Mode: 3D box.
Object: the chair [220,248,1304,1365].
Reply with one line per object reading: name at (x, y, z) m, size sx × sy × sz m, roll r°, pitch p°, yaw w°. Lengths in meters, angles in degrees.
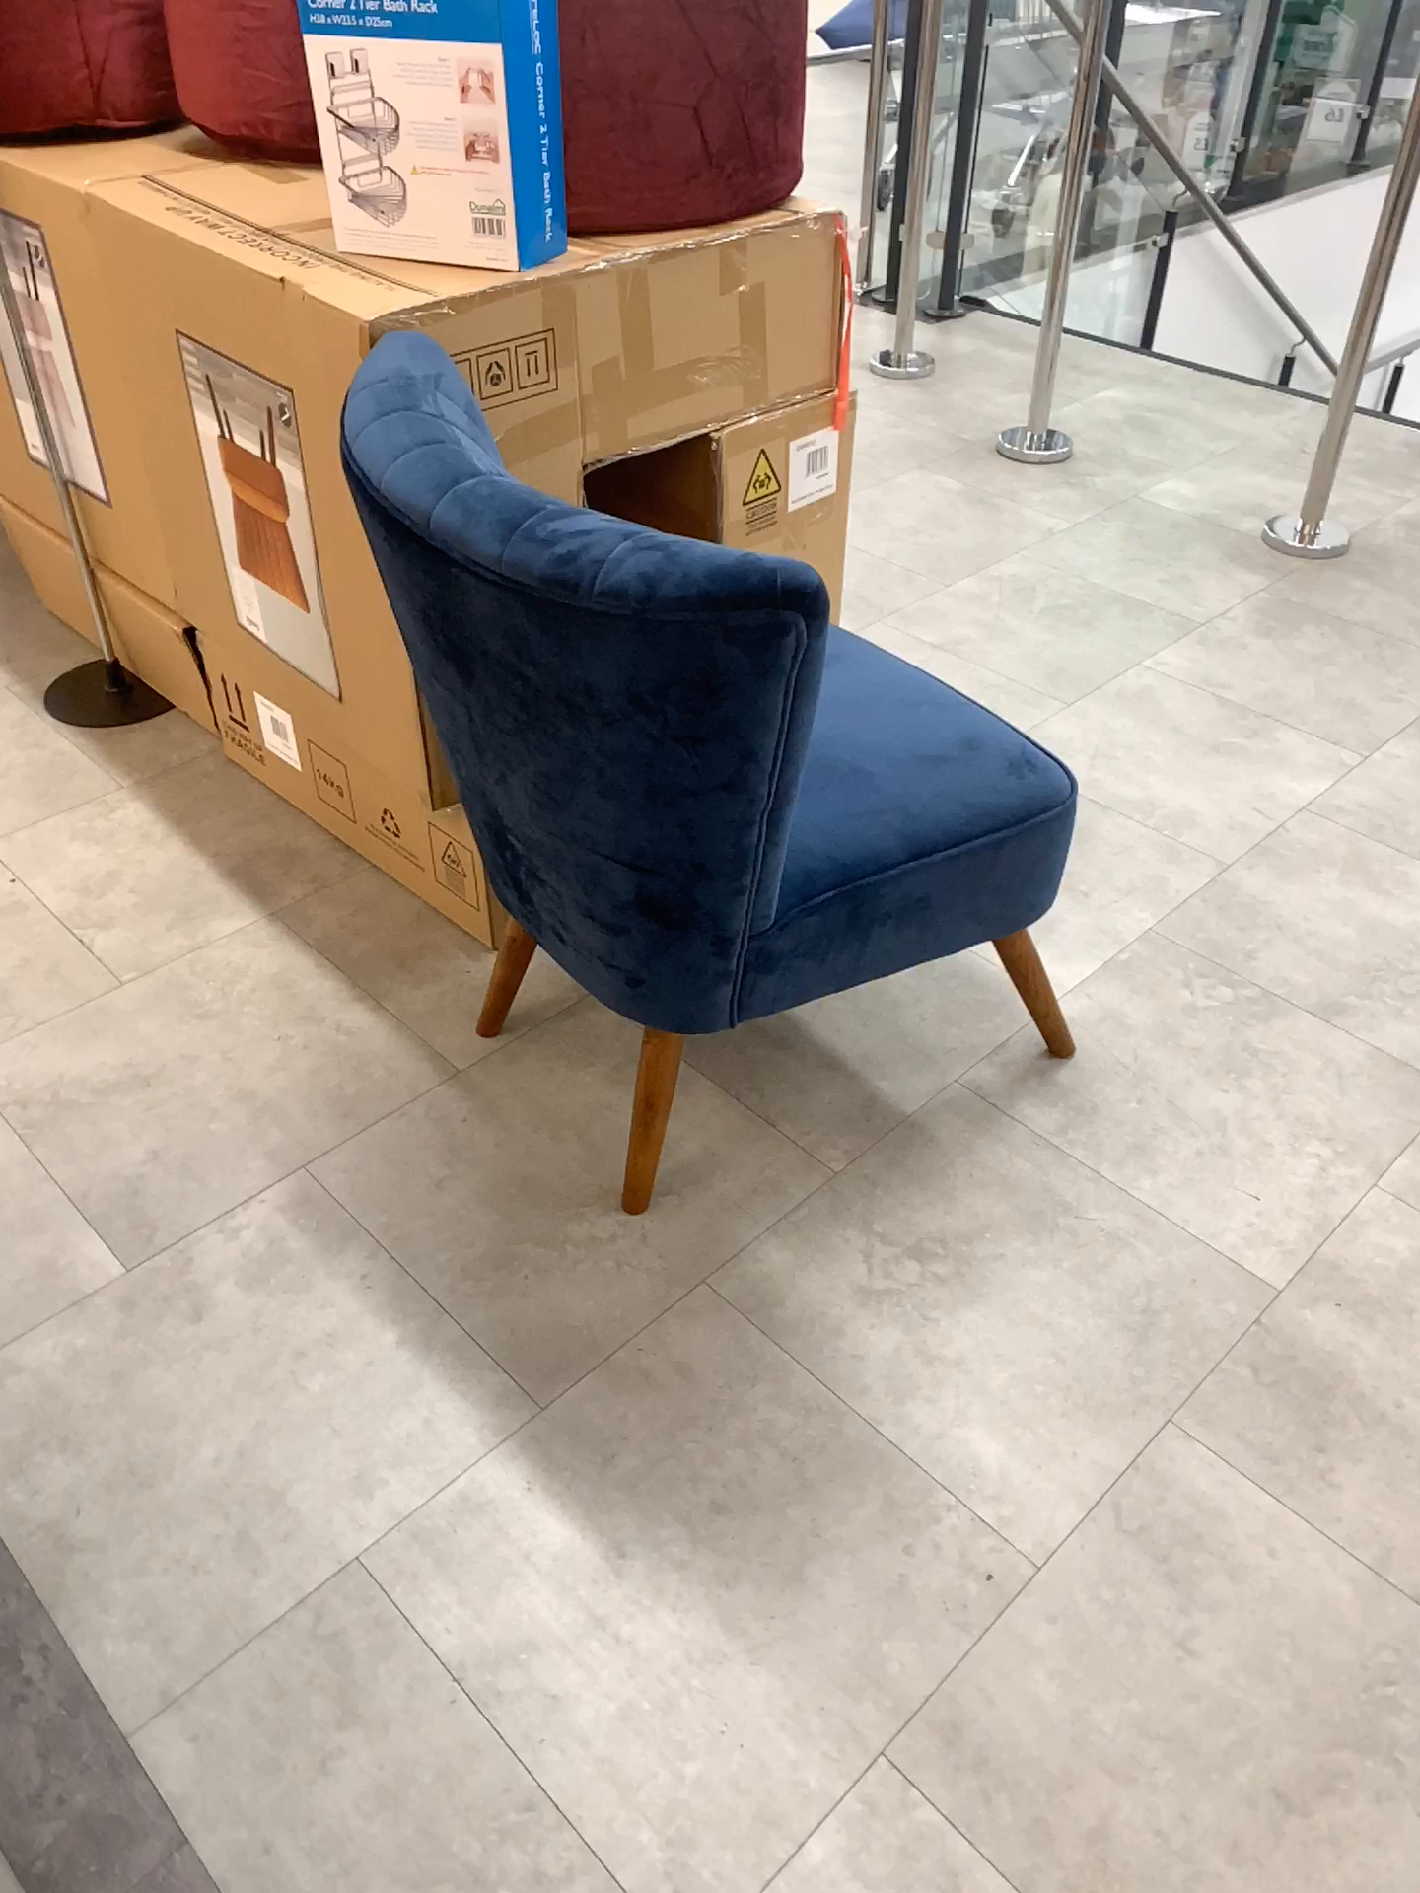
chair at (0.033, -0.208, 1.568) m, size 0.723 × 0.792 × 0.694 m, roll -27°, pitch 46°, yaw -30°
